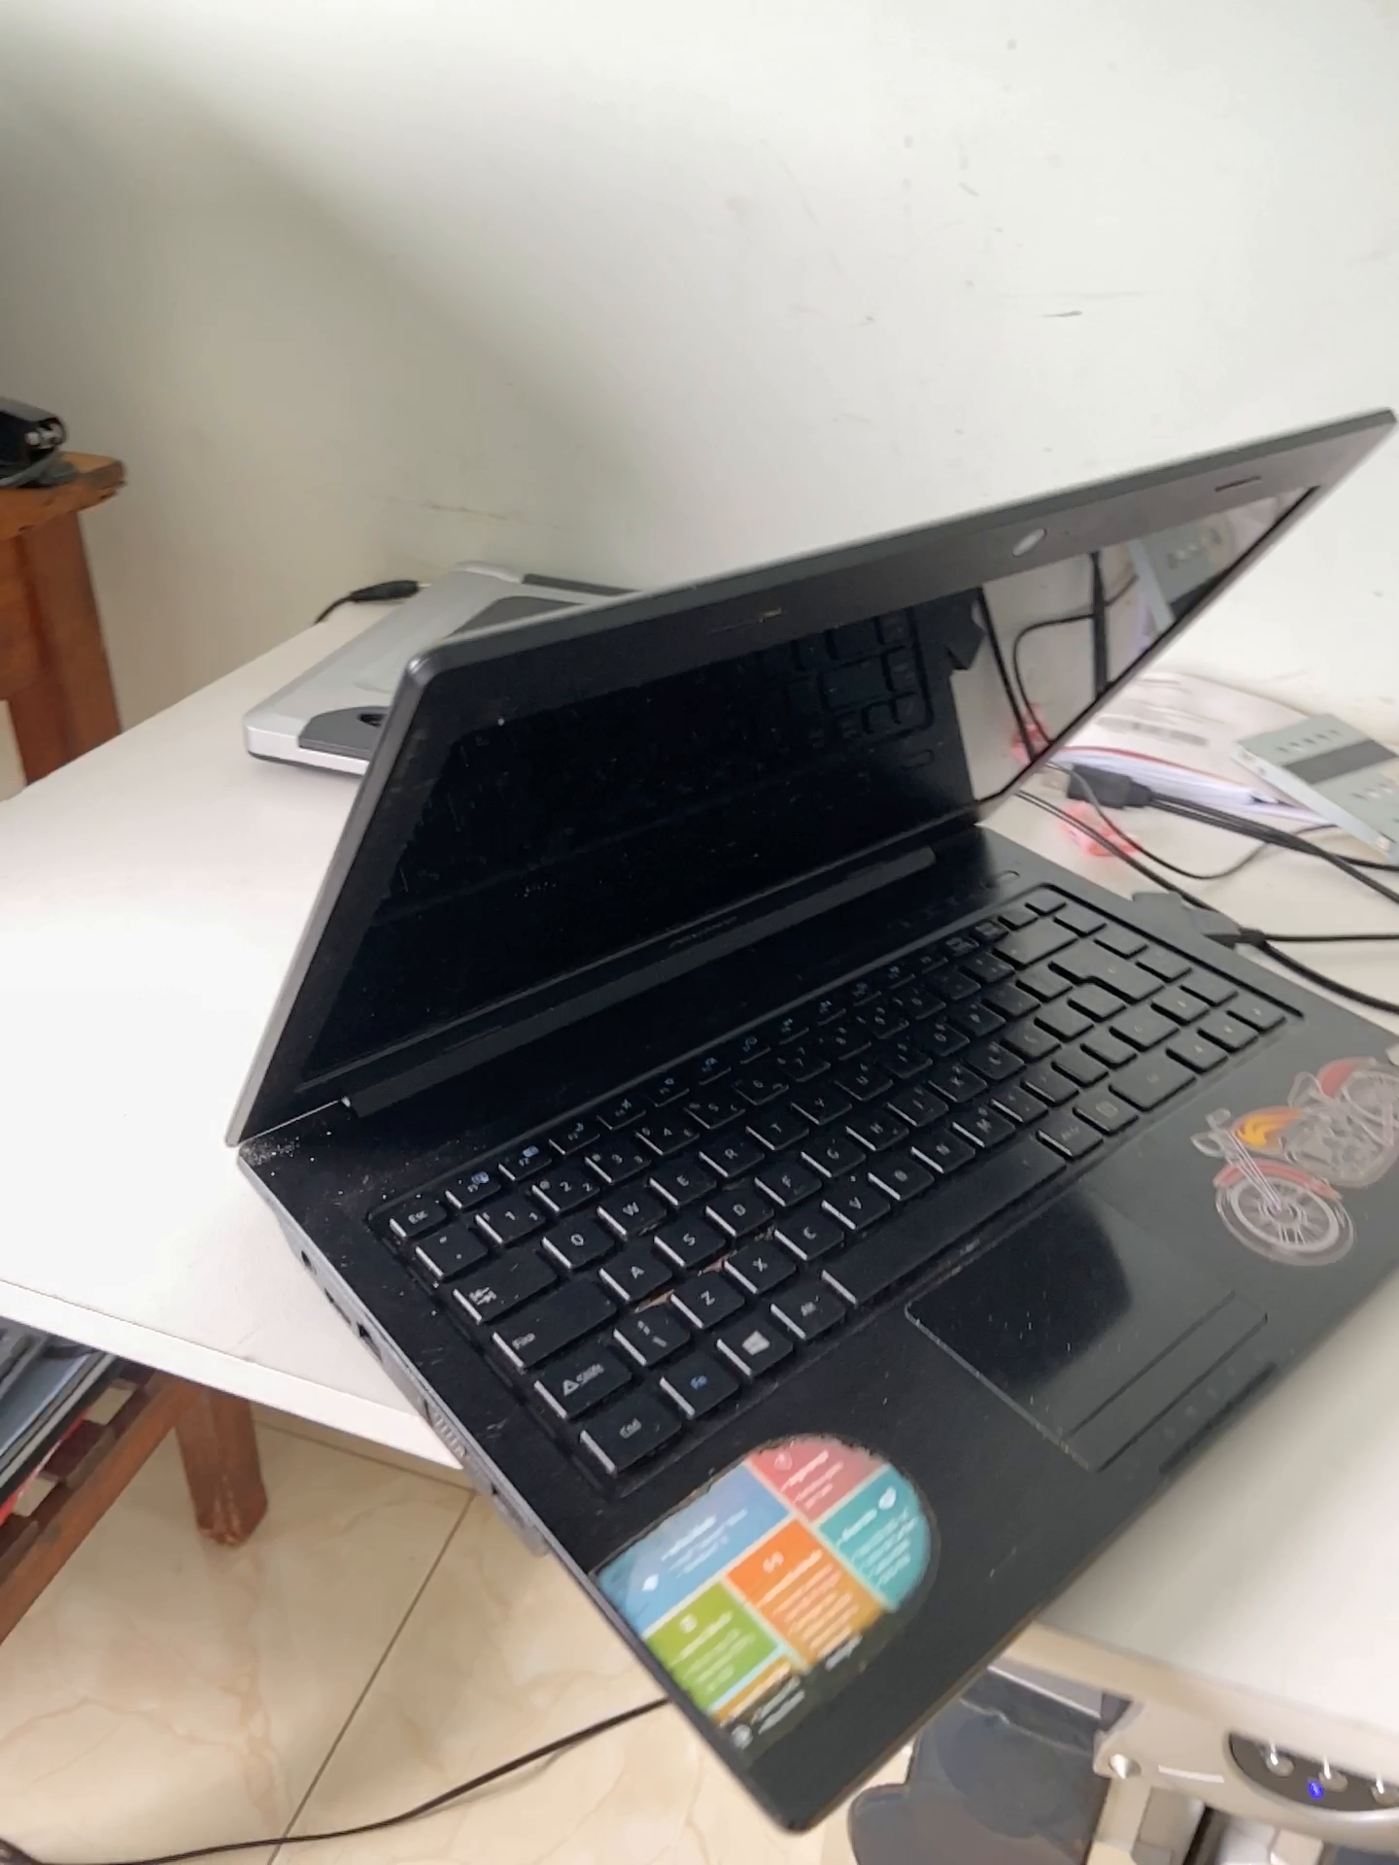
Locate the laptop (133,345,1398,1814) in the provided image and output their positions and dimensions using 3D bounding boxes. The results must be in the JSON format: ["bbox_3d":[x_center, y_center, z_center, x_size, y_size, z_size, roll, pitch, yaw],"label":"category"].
[{"bbox_3d":[0.074,-0.020,0.387,0.331,0.189,0.233,-23,40,-35],"label":"laptop"}]
